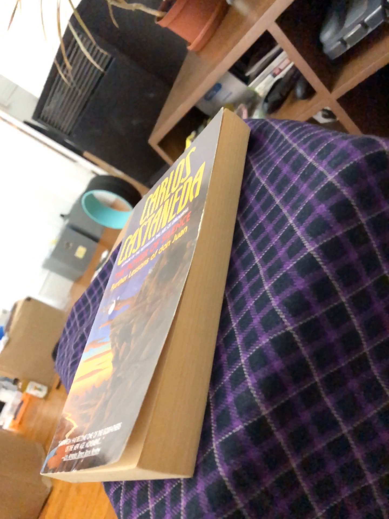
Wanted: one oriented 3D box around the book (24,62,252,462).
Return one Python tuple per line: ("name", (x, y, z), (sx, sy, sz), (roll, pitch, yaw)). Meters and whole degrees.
("book", (-0.033, 0.002, 0.266), (0.150, 0.020, 0.221), (-35, 34, 49))
